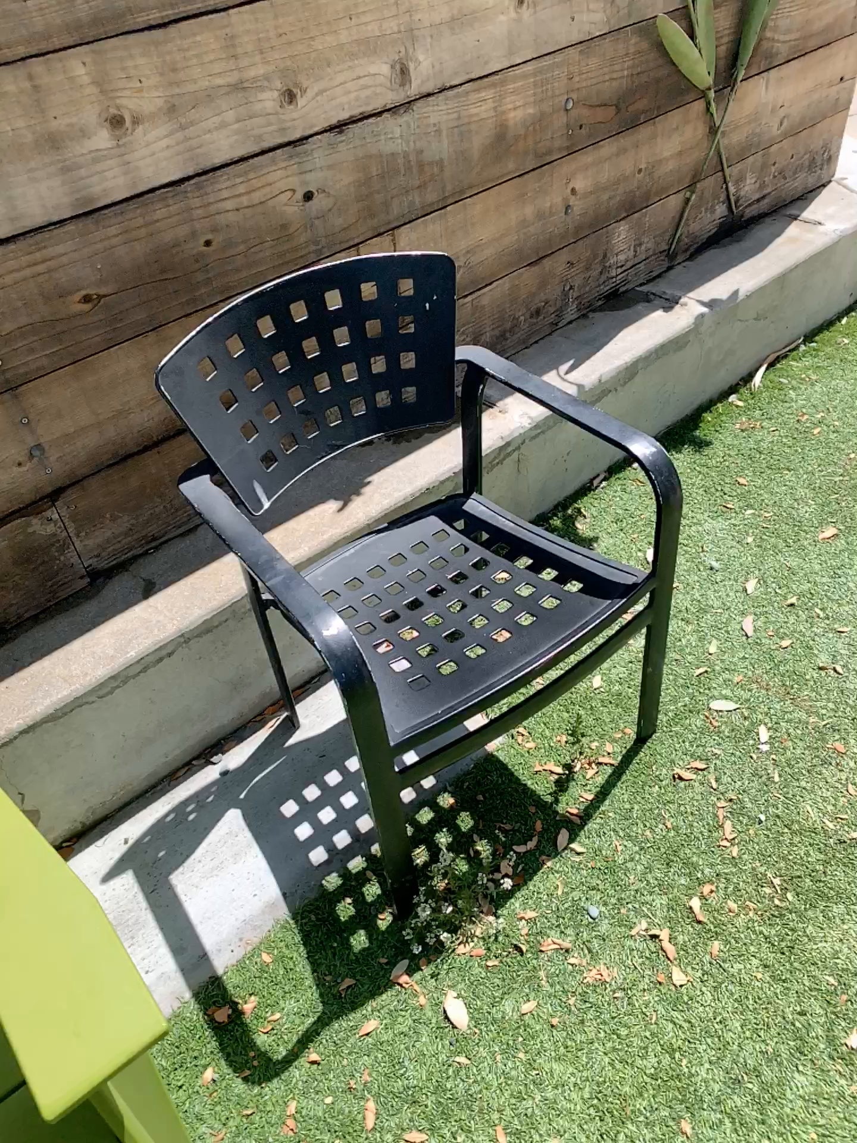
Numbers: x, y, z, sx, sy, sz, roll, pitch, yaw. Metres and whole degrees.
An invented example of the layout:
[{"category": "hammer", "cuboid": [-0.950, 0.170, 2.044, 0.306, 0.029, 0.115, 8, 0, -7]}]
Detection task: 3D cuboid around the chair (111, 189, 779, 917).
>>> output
[{"category": "chair", "cuboid": [0.029, -0.039, 1.270, 0.590, 0.715, 0.523, -30, 48, -23]}]
